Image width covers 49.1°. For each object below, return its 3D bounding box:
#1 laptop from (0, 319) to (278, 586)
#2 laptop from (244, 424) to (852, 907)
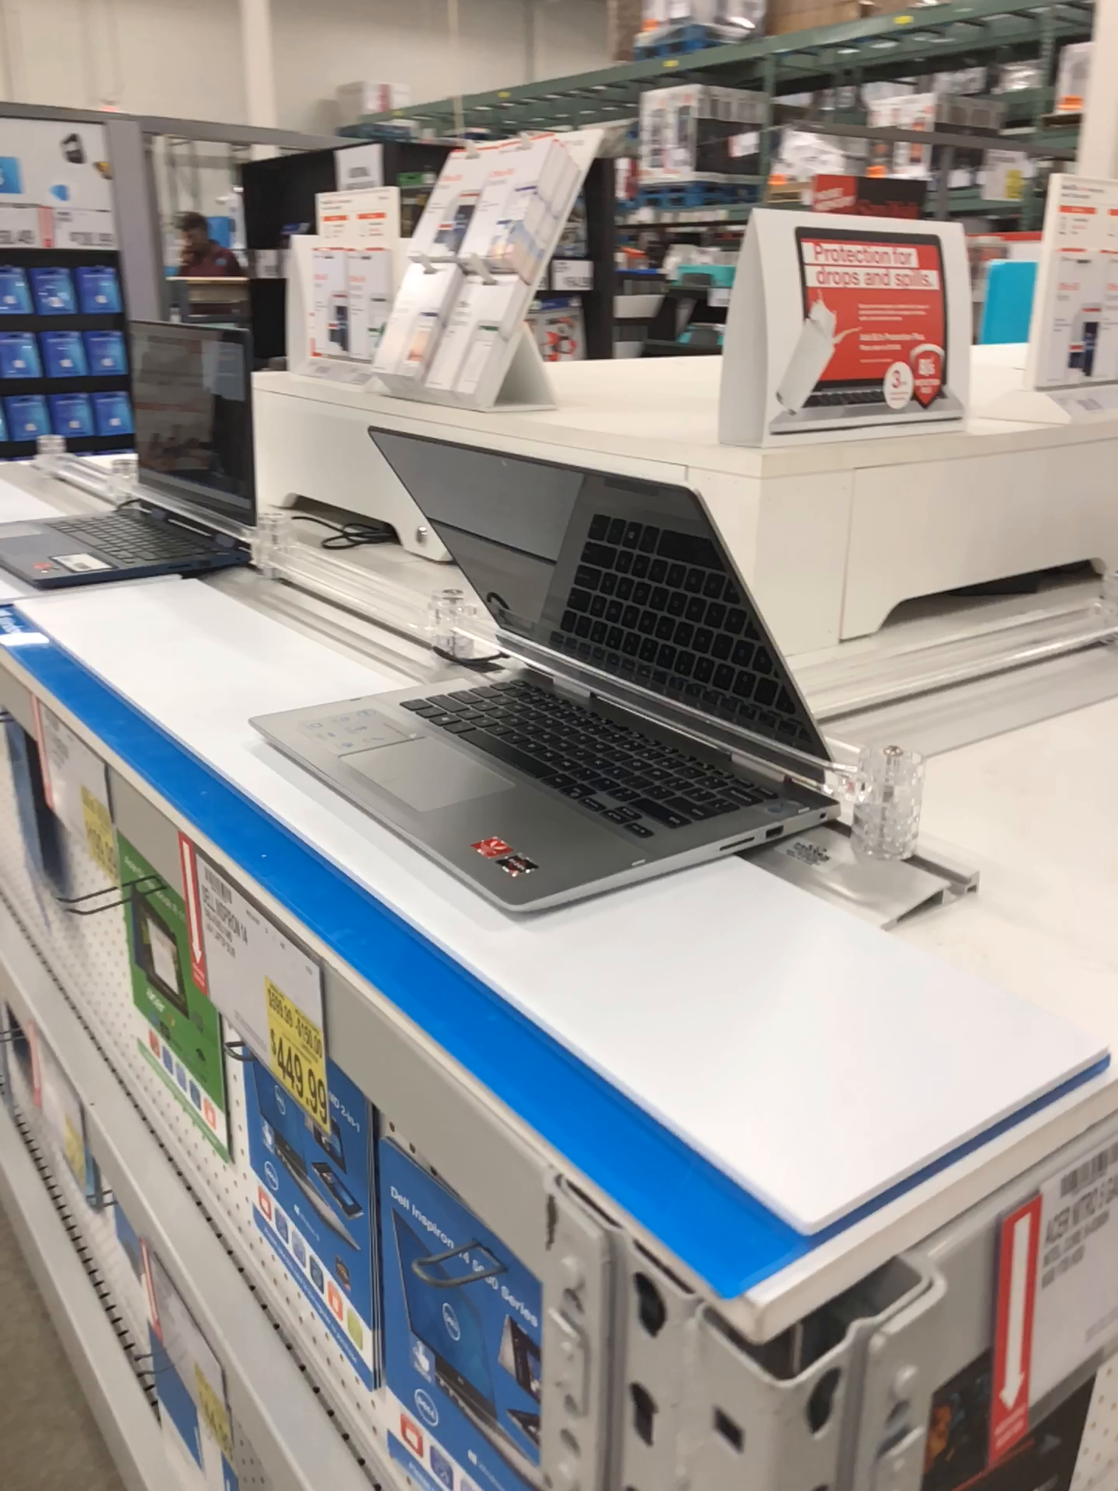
[{"bbox_3d":[-0.565,-0.373,1.480,0.284,0.239,0.366,-17,27,-35],"label":"laptop"},{"bbox_3d":[-0.022,-0.076,0.715,0.210,0.183,0.308,-13,24,-32],"label":"laptop"}]
